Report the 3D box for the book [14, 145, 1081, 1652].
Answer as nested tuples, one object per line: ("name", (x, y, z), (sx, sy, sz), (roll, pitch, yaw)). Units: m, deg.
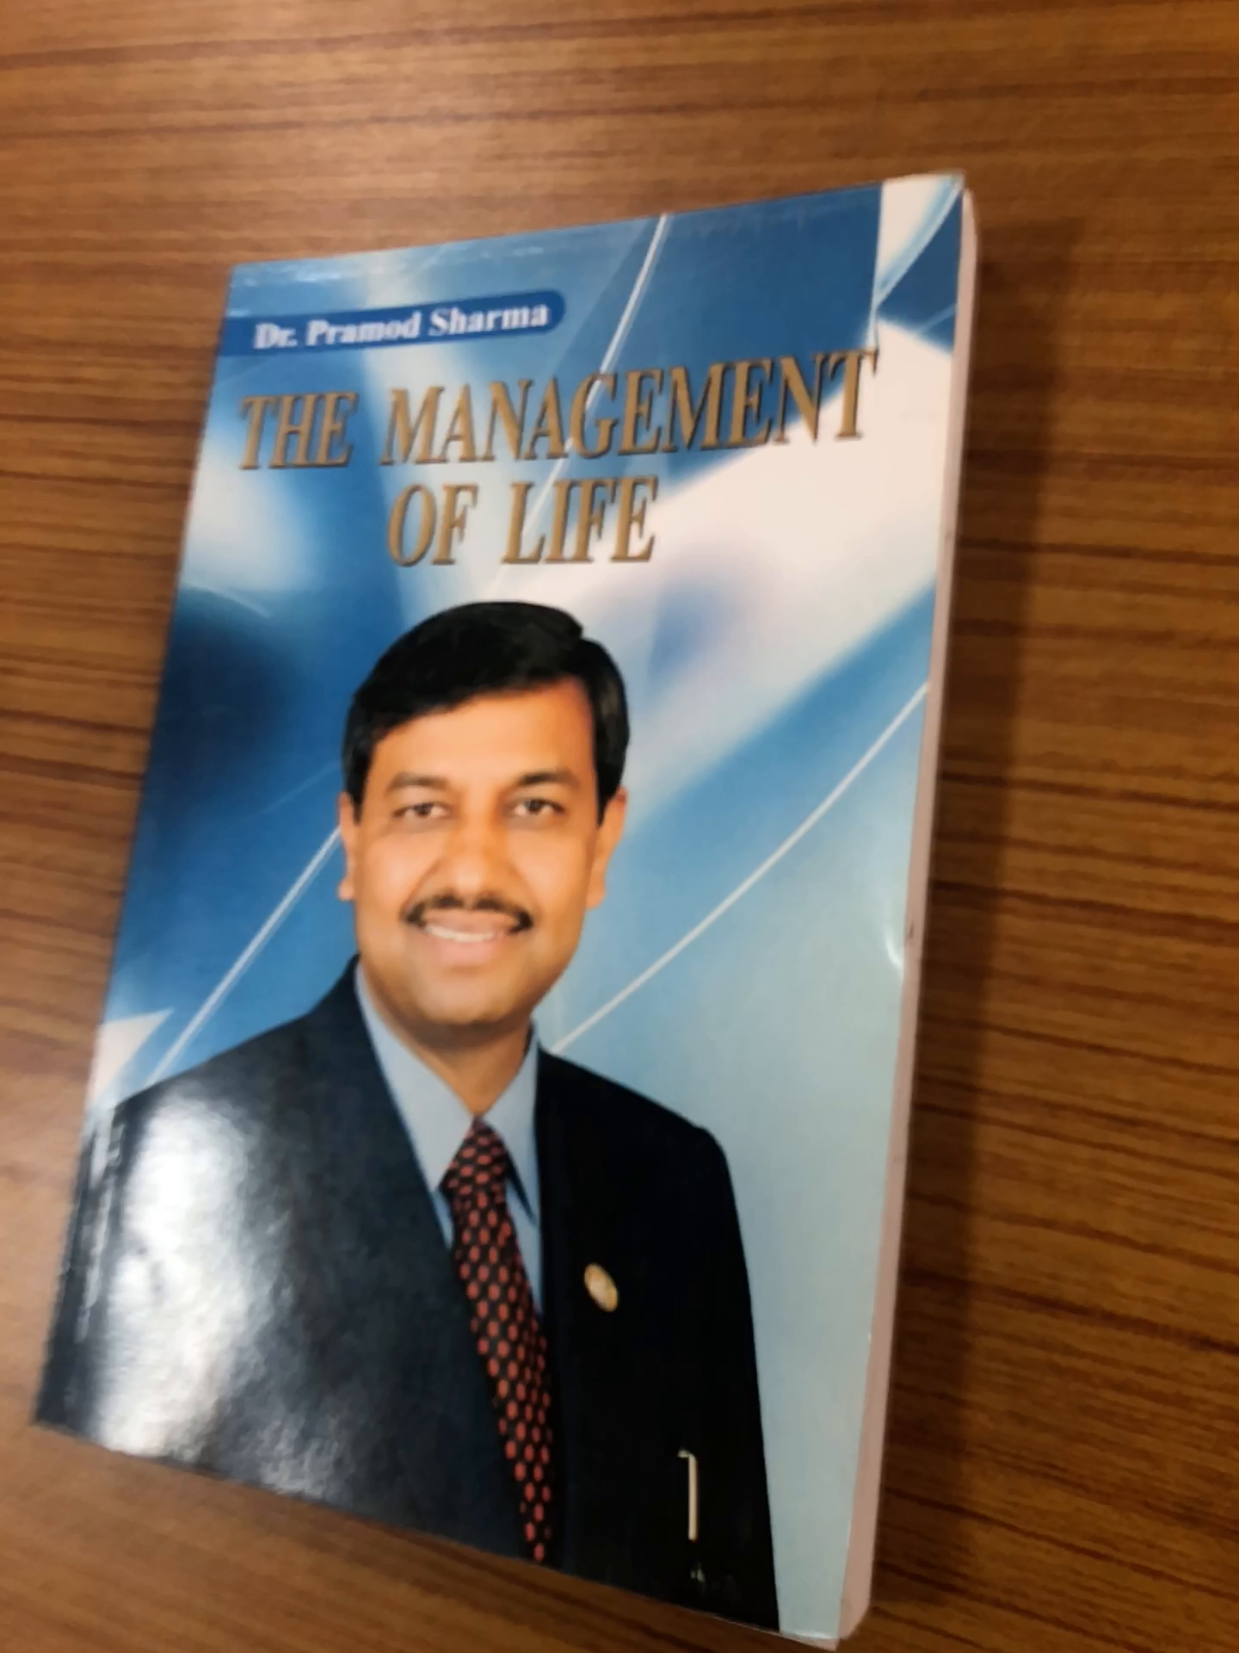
("book", (-0.013, 0.005, 0.222), (0.151, 0.020, 0.210), (3, 80, 23))
